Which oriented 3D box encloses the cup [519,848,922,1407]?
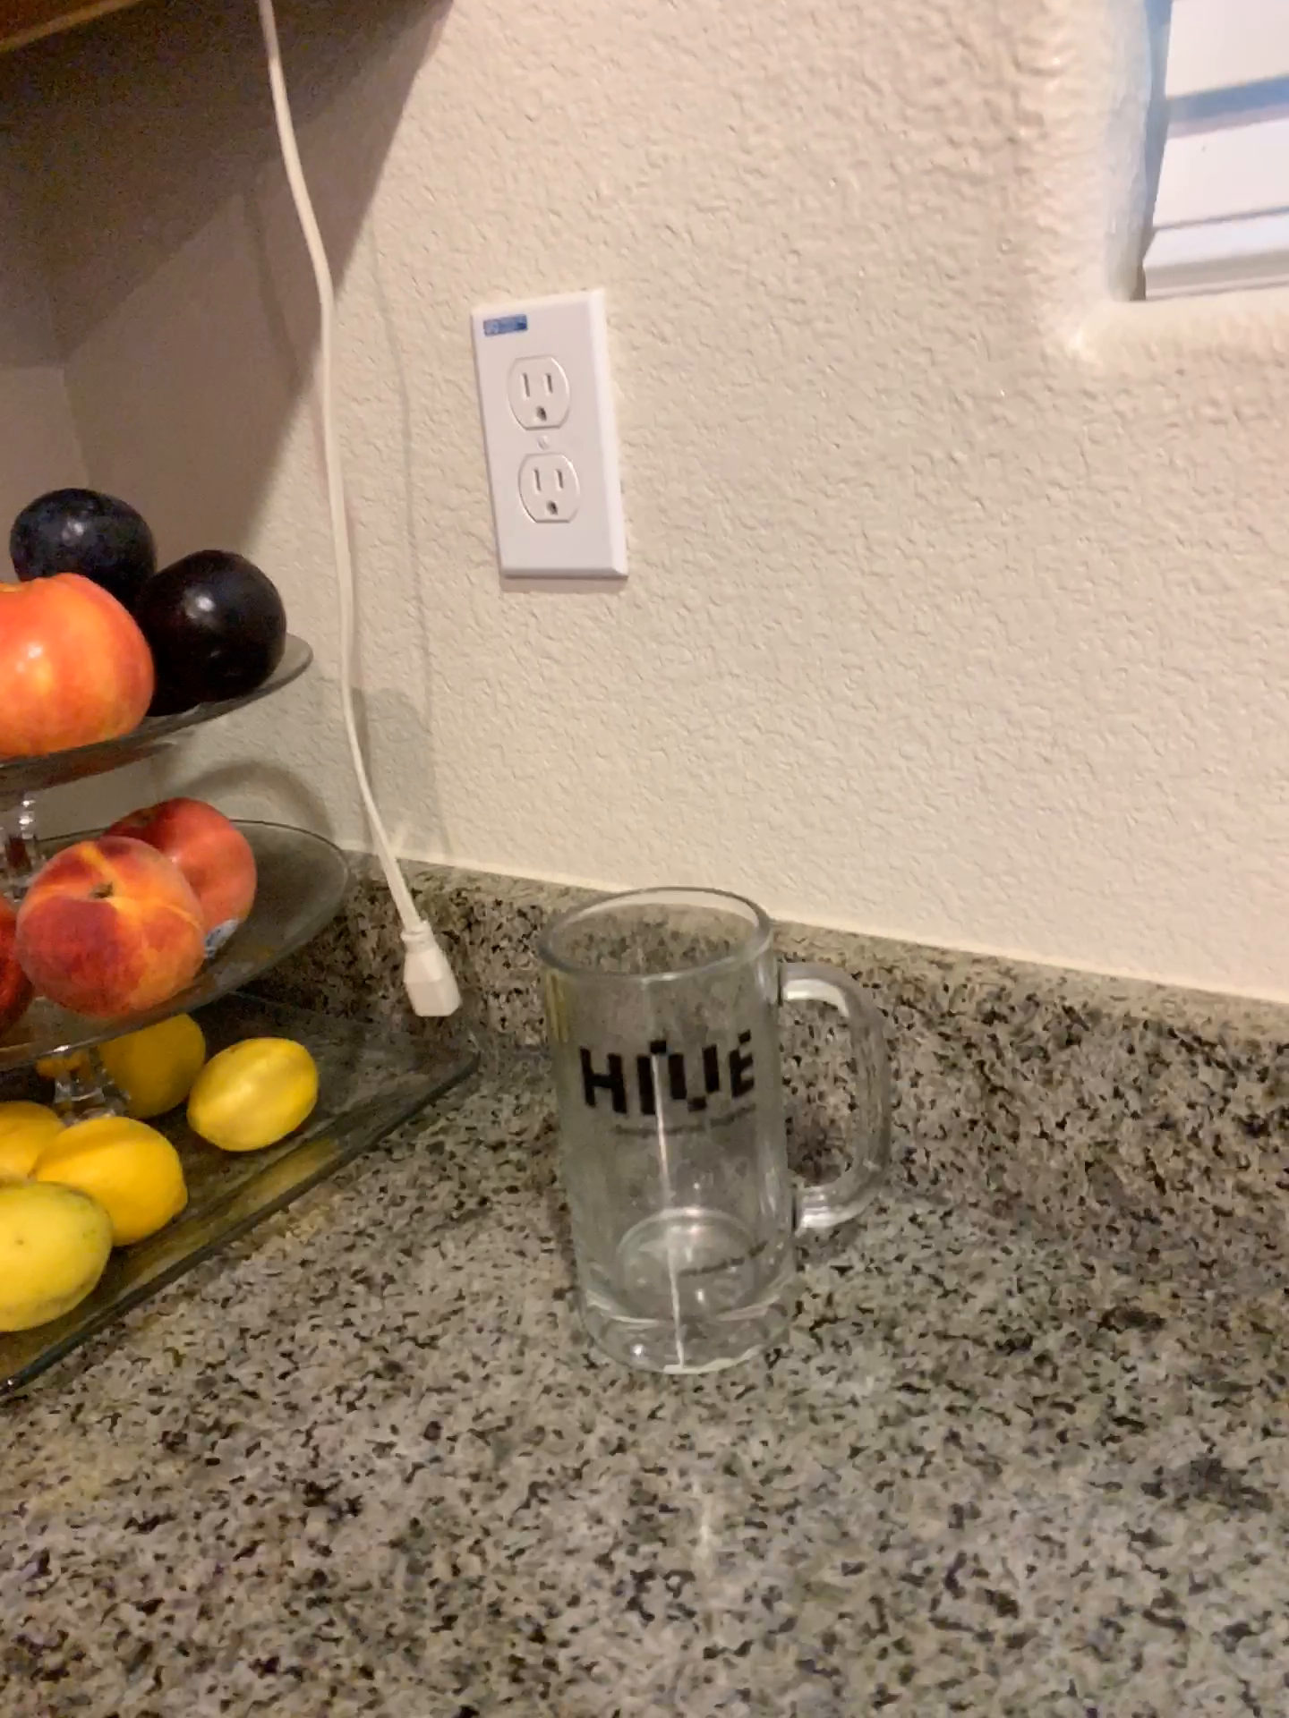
[{"bbox_3d":[0.026,0.091,0.467,0.120,0.159,0.080,-7,19,-5],"label":"cup"}]
